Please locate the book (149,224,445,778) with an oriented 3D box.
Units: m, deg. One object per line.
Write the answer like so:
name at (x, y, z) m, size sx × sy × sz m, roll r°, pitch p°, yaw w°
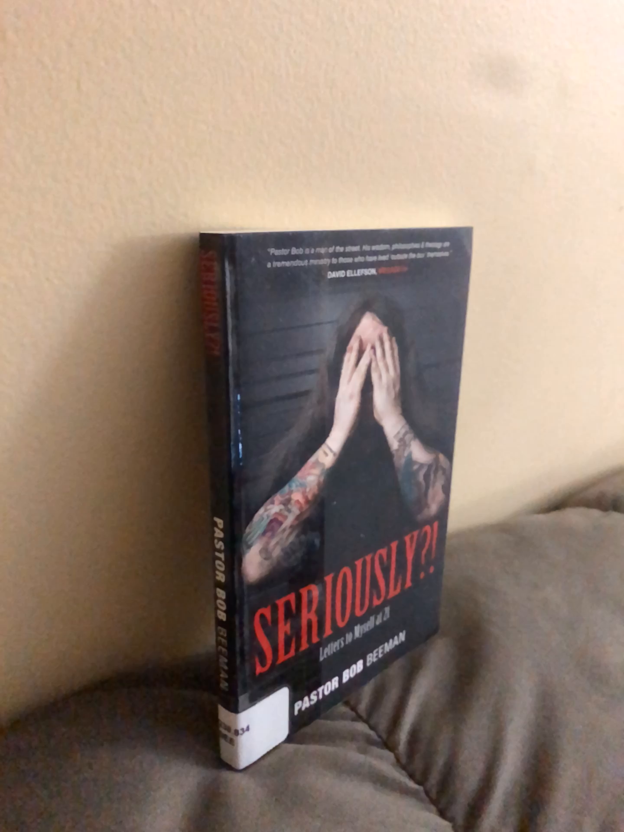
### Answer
book at (0.002, 0.026, 0.296) m, size 0.023 × 0.205 × 0.137 m, roll 16°, pitch 23°, yaw 41°
